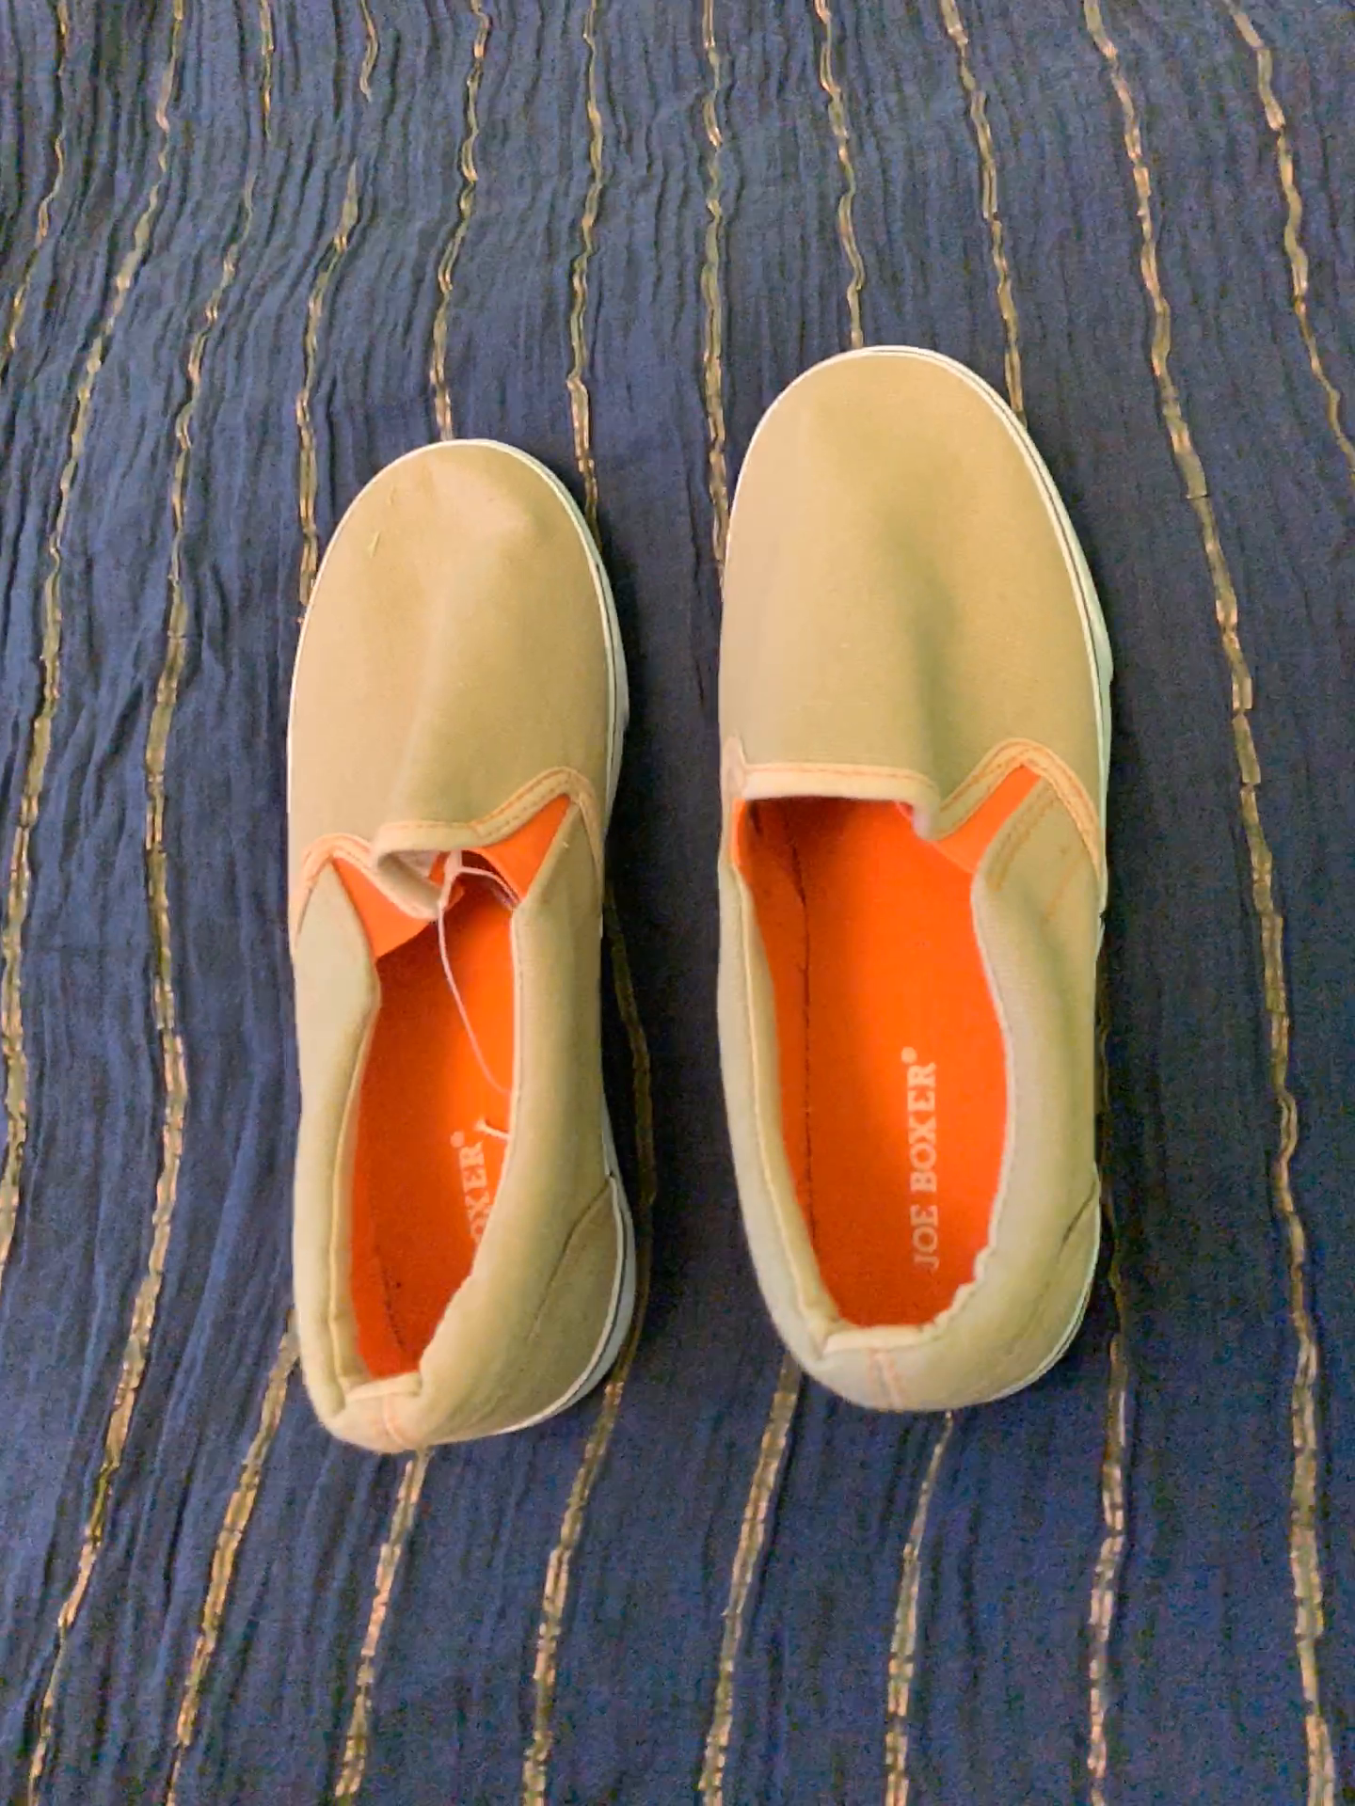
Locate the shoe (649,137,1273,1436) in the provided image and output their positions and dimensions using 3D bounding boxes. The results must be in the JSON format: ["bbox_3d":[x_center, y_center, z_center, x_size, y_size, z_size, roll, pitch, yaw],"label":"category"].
[{"bbox_3d":[0.054,-0.027,0.319,0.100,0.080,0.271,-5,73,11],"label":"shoe"}]

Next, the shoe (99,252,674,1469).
[{"bbox_3d":[-0.061,-0.011,0.333,0.095,0.080,0.263,-6,72,11],"label":"shoe"}]
